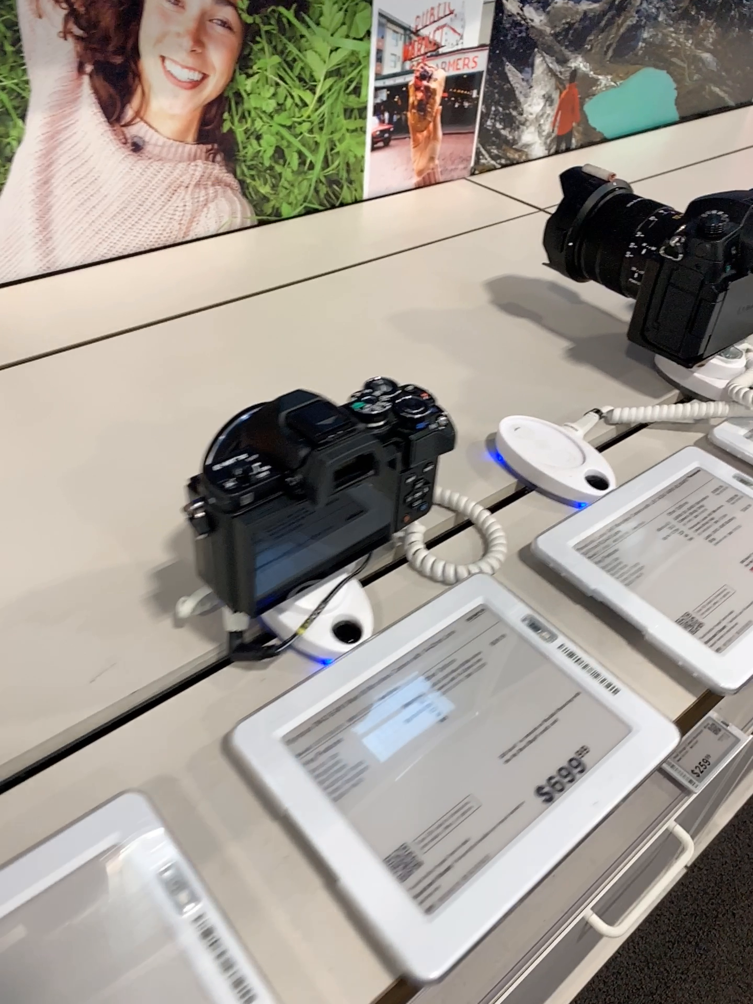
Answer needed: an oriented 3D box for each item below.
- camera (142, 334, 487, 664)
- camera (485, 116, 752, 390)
[{"bbox_3d":[-0.025,-0.007,0.353,0.130,0.080,0.070,-29,51,-31],"label":"camera"},{"bbox_3d":[0.207,-0.193,0.566,0.140,0.099,0.201,-29,51,-31],"label":"camera"}]
